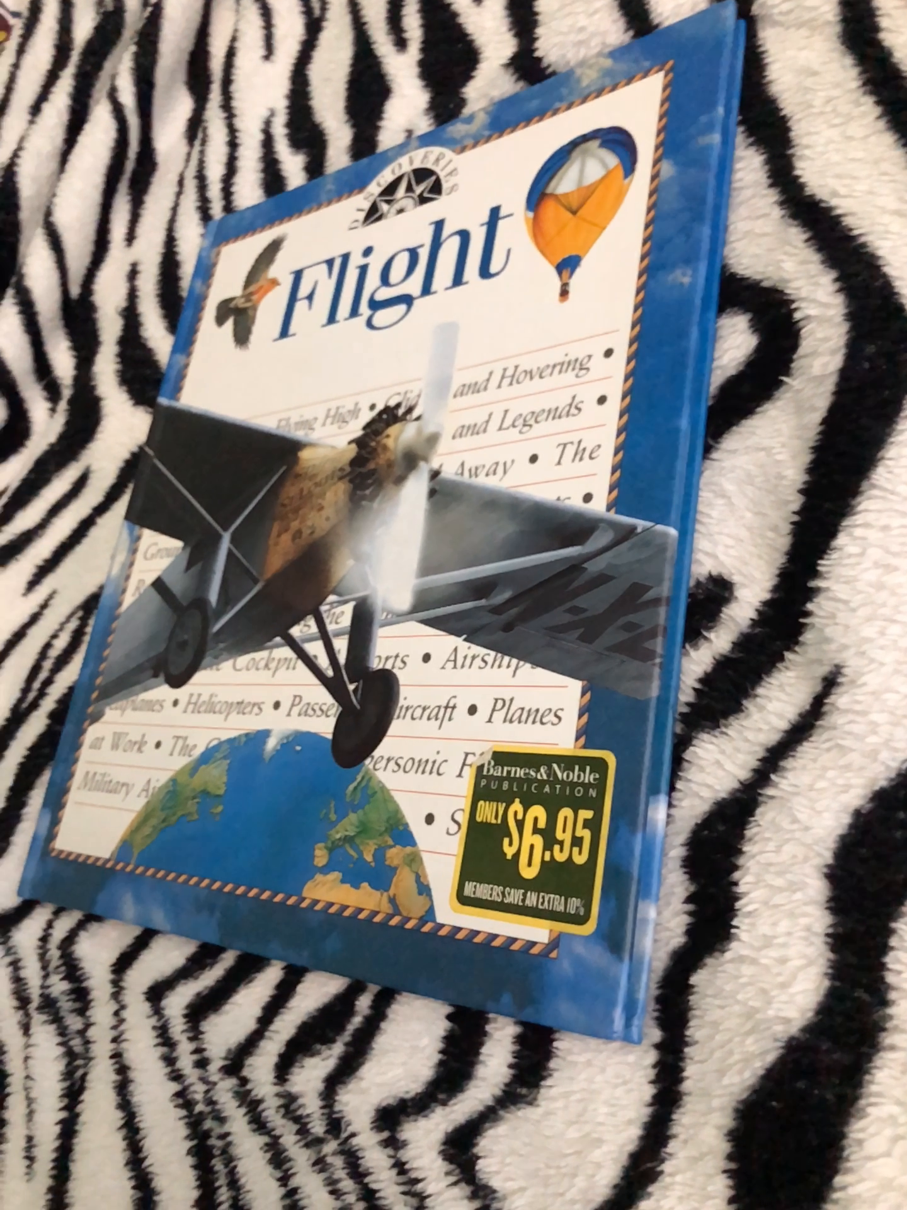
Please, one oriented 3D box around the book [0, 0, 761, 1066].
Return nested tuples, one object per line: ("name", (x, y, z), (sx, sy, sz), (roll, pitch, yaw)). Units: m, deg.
("book", (-0.038, -0.035, 0.345), (0.259, 0.020, 0.301), (-3, 69, 37))
